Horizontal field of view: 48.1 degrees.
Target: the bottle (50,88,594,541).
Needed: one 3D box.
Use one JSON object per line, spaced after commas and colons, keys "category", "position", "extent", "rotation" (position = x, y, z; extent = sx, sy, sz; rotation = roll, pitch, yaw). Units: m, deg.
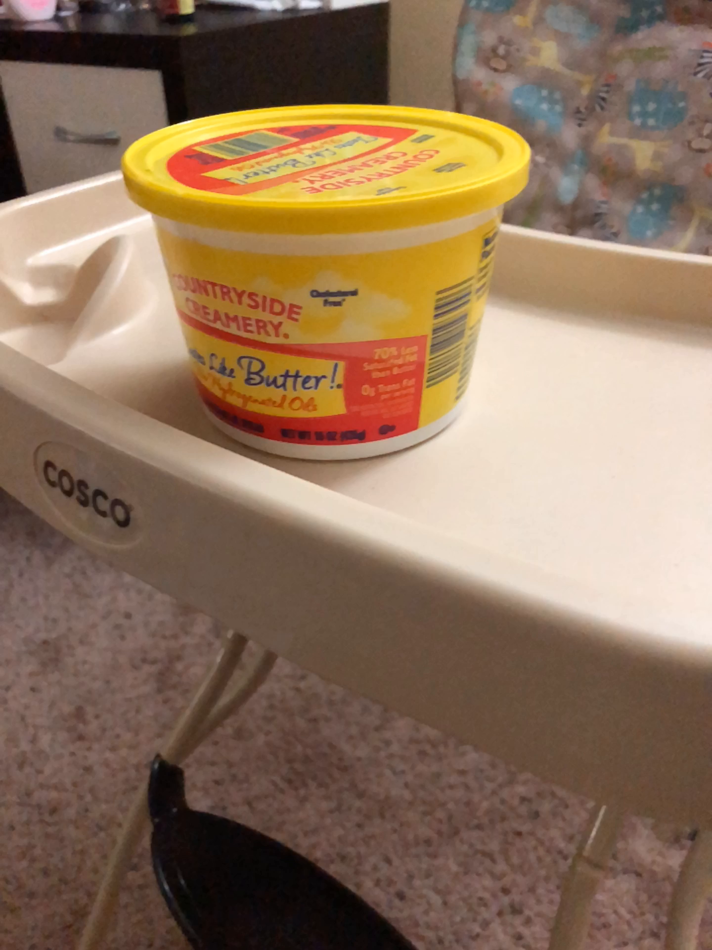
{"category": "bottle", "position": [-0.009, -0.065, 0.265], "extent": [0.120, 0.090, 0.110], "rotation": [-1, 35, 1]}
